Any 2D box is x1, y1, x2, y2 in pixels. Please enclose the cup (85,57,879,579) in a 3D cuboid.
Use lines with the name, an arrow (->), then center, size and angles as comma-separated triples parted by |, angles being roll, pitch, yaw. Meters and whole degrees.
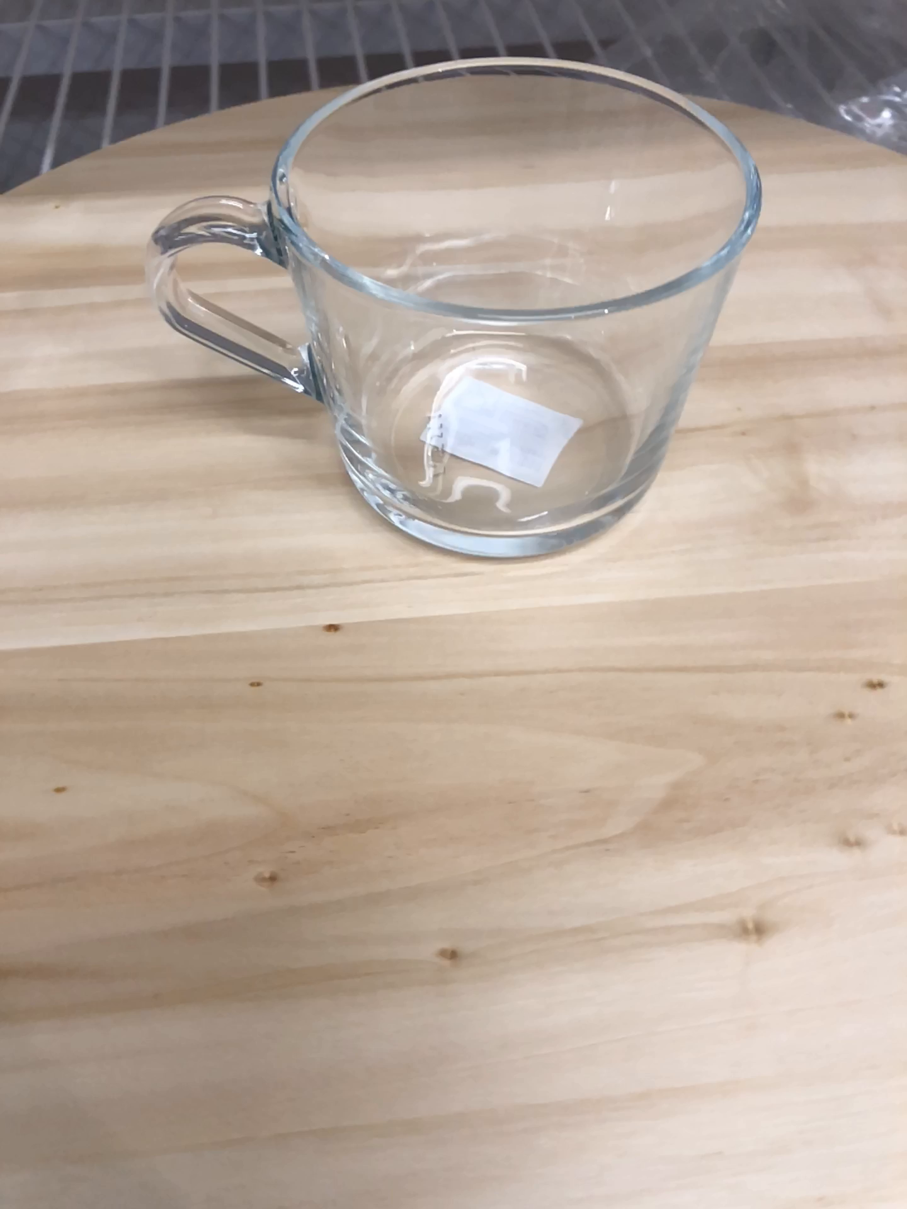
cup -> 0.005, -0.060, 0.206 | 0.120, 0.060, 0.090 | 1, 50, 2
